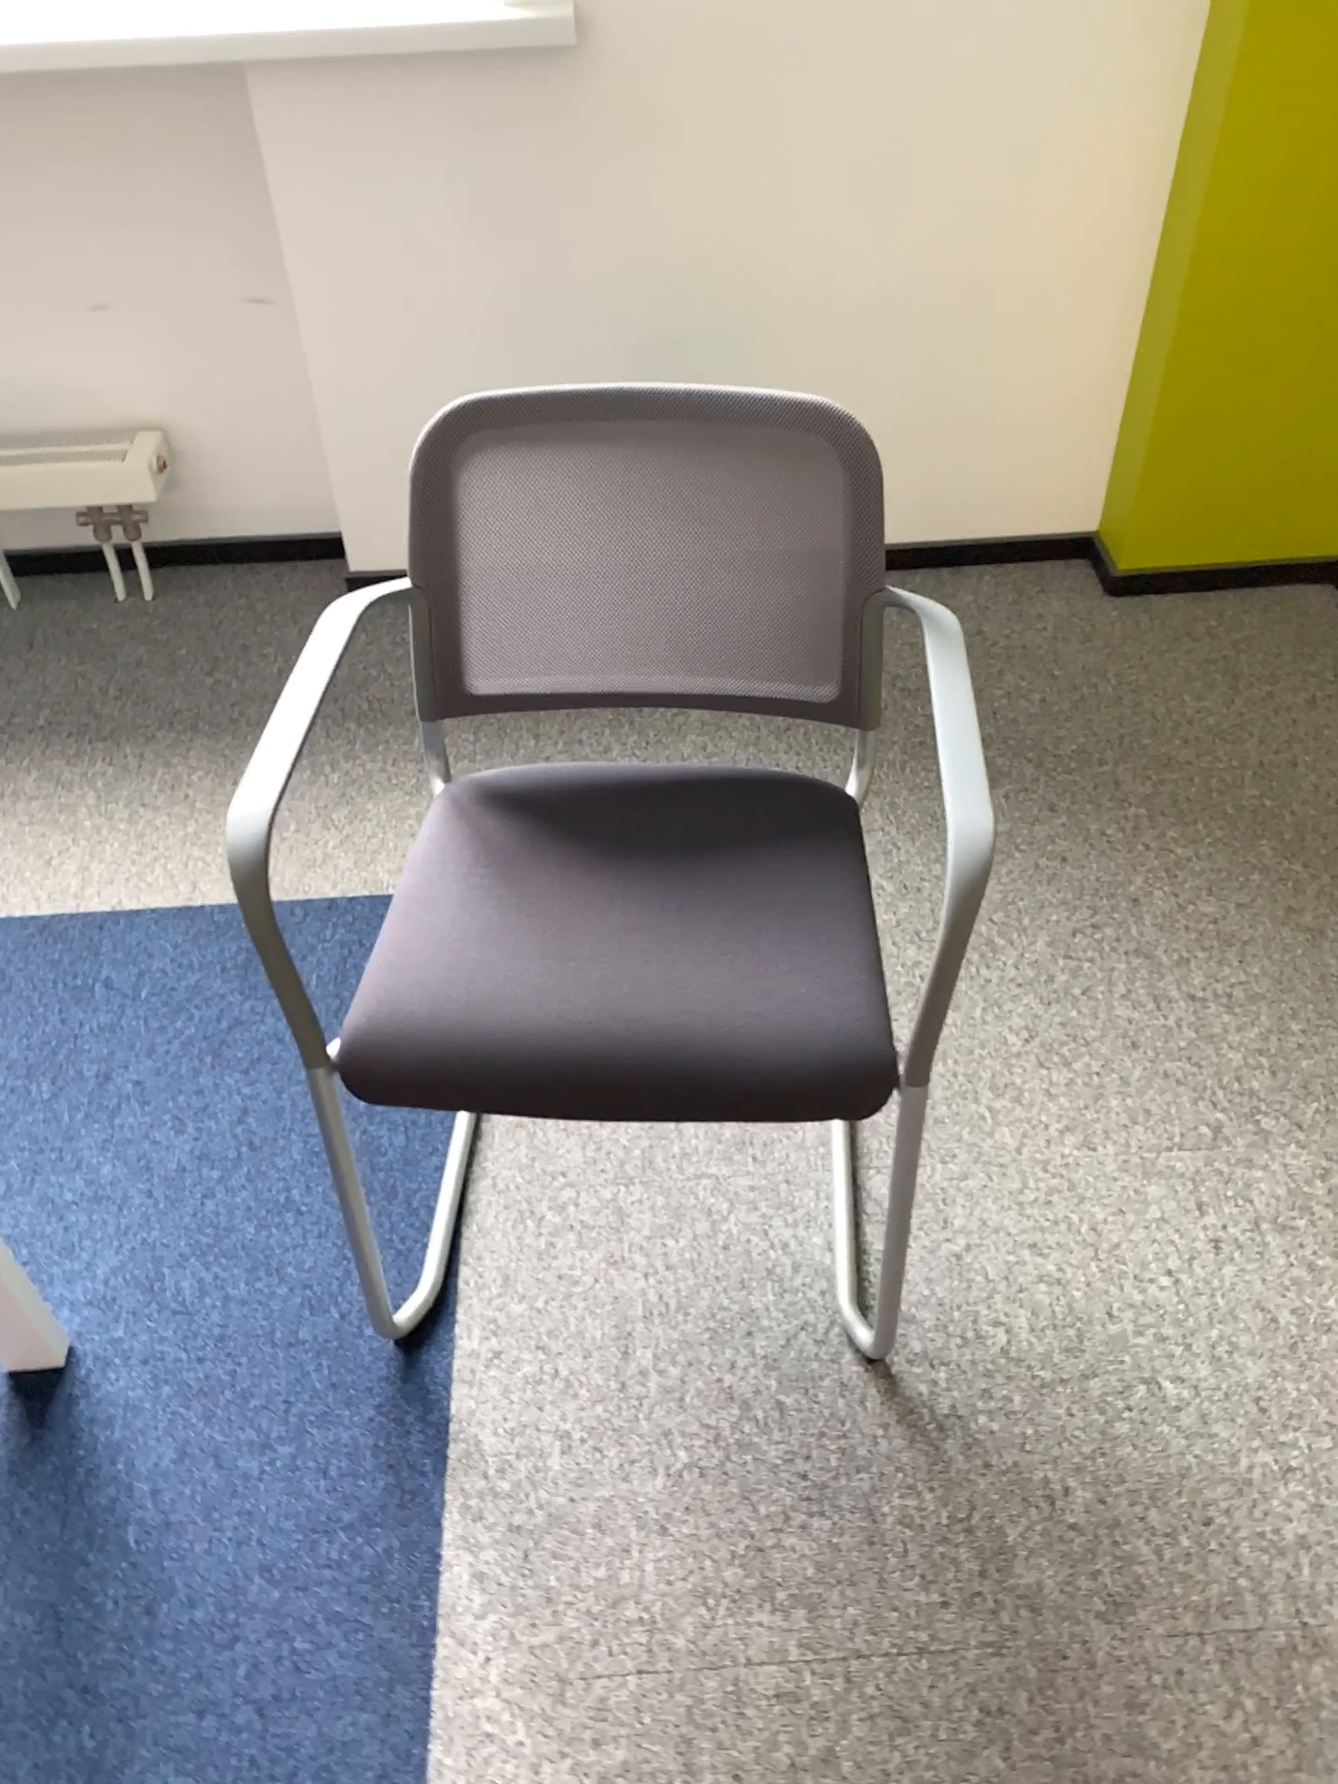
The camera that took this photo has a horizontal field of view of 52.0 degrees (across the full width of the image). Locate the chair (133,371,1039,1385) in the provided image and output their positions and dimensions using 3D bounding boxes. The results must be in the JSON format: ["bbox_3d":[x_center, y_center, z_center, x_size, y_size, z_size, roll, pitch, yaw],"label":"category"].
[{"bbox_3d":[-0.025,0.002,1.234,0.530,0.726,0.523,3,44,4],"label":"chair"}]
